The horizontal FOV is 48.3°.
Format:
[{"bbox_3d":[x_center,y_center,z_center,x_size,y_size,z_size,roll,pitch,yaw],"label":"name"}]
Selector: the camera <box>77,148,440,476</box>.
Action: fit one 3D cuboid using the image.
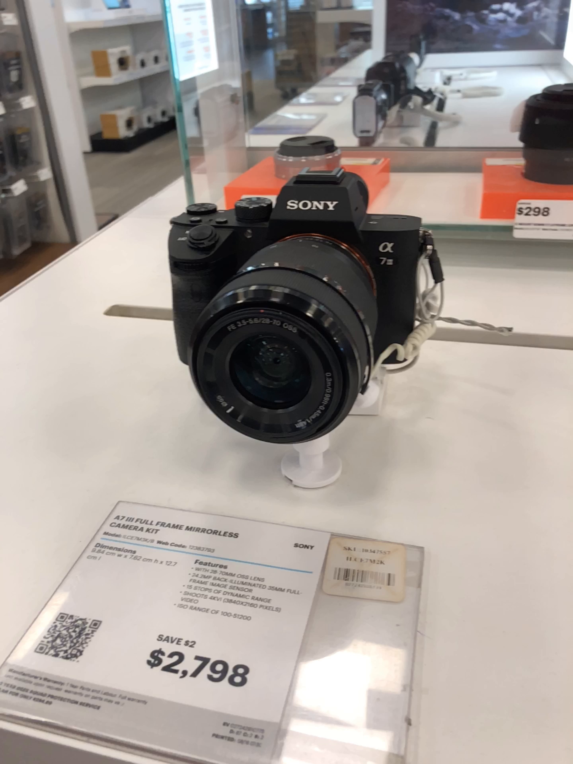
[{"bbox_3d":[0.004,-0.050,0.325,0.130,0.100,0.161,5,32,14],"label":"camera"}]
